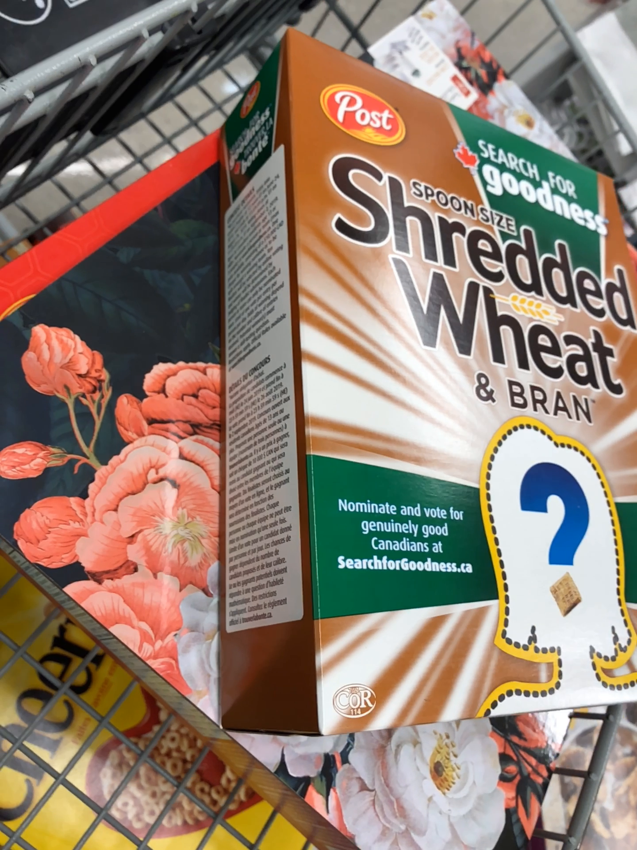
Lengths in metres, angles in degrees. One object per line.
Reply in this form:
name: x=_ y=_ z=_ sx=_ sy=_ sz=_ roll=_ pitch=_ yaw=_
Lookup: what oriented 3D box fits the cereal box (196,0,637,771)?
cereal box: x=0.063 y=-0.018 z=0.328 sx=0.221 sy=0.070 sz=0.300 roll=12 pitch=63 yaw=-32
